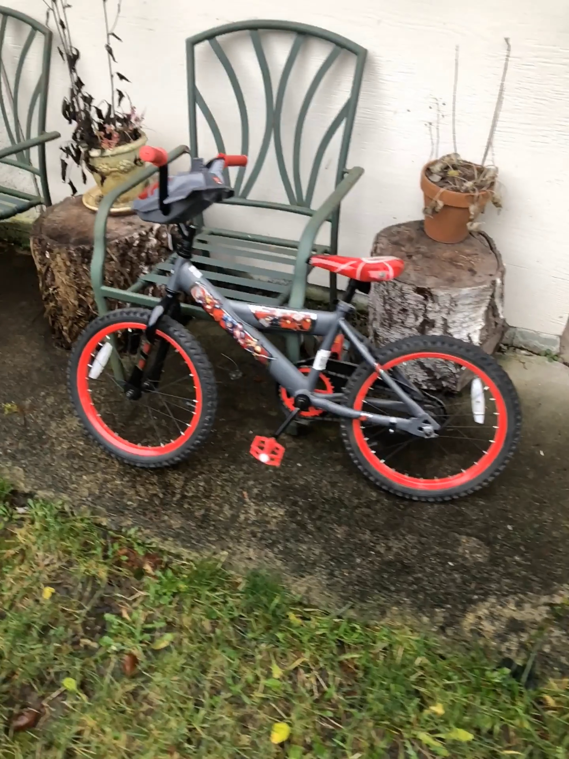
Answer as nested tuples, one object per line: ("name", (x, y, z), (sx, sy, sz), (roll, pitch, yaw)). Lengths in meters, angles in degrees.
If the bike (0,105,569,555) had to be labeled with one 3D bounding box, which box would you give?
("bike", (-0.006, -0.154, 1.574), (1.199, 0.853, 0.604), (7, 41, 12))
